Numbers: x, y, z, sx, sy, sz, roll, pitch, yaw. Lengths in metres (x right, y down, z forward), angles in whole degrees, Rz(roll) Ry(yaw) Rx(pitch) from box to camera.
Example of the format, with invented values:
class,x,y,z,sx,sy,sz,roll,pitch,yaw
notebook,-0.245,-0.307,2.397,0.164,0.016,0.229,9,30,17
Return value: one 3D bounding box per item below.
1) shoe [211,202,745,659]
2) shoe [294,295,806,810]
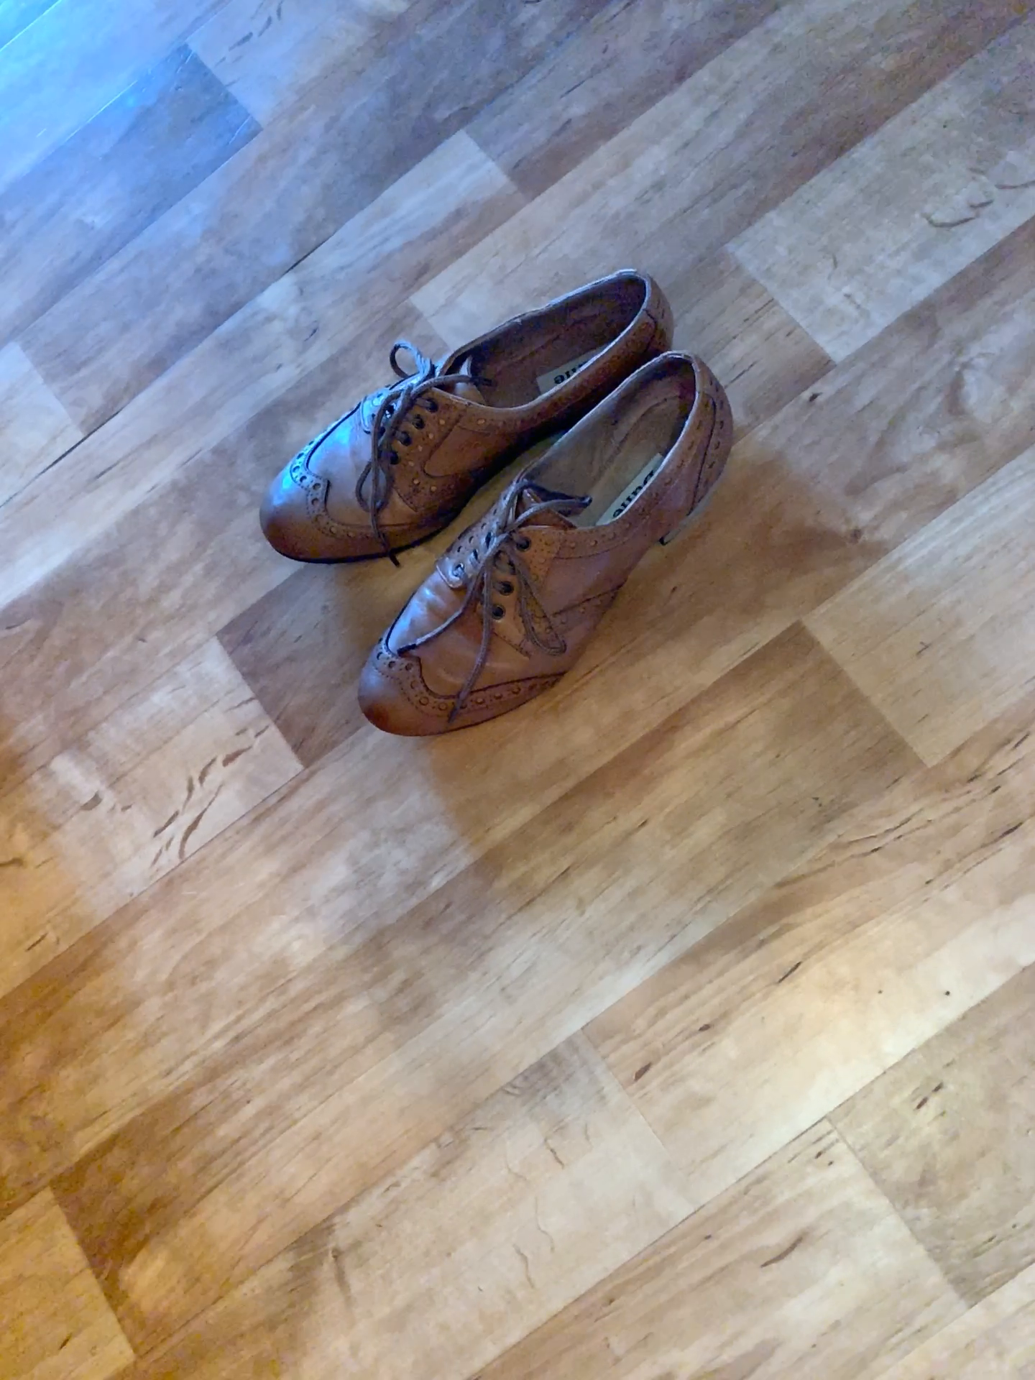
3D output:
class,x,y,z,sx,sy,sz,roll,pitch,yaw
shoe,-0.013,-0.123,0.552,0.240,0.120,0.090,-27,74,5
shoe,0.023,-0.056,0.515,0.230,0.120,0.080,-43,74,0
